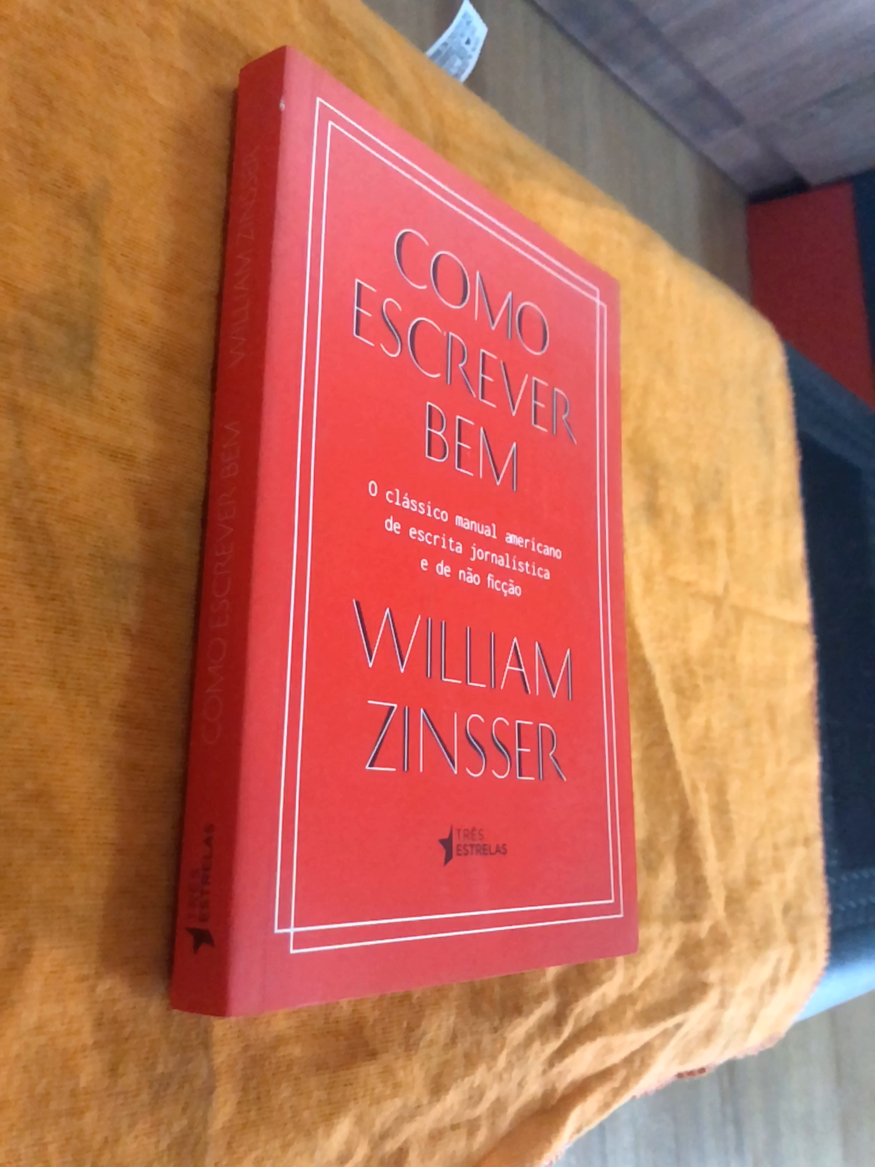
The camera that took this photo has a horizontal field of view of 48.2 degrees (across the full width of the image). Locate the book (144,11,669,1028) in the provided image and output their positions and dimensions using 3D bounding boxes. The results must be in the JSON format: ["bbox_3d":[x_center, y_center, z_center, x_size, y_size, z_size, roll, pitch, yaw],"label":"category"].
[{"bbox_3d":[0.007,-0.010,0.236,0.141,0.020,0.195,15,71,-44],"label":"book"}]
